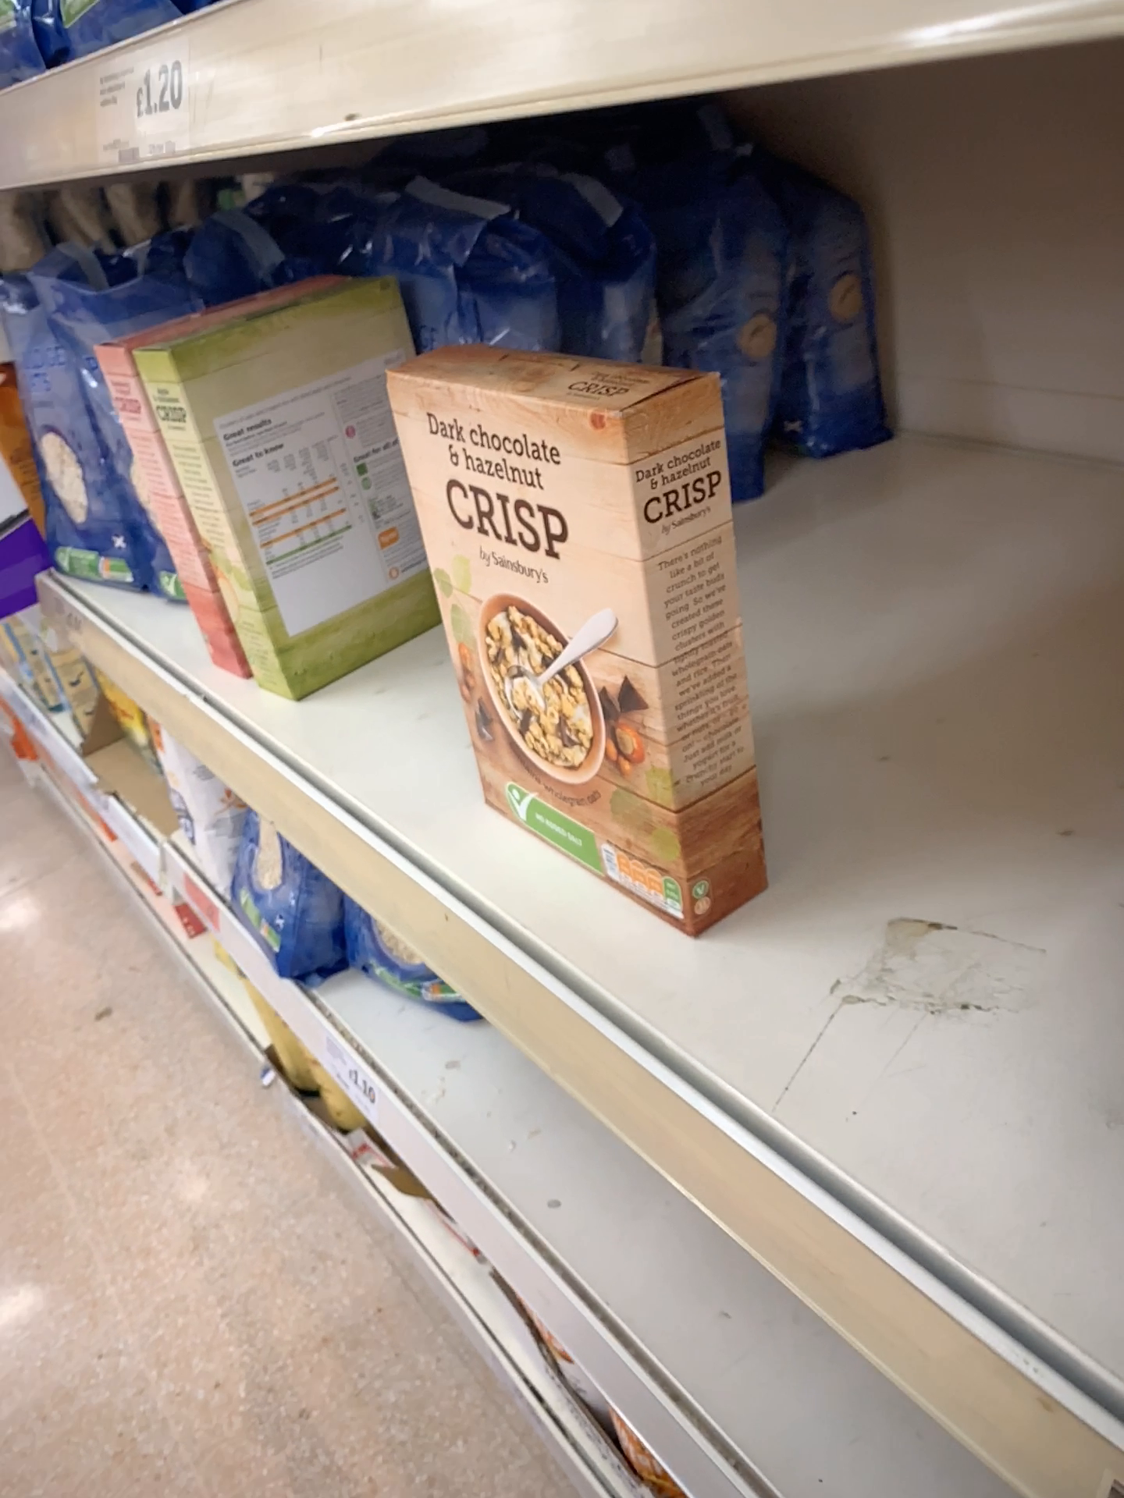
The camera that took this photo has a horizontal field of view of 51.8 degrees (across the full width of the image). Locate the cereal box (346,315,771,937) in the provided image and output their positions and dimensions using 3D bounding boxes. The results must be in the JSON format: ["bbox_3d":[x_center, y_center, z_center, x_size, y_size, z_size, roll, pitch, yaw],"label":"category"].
[{"bbox_3d":[-0.001,-0.064,0.548,0.060,0.248,0.191,-28,34,-27],"label":"cereal box"}]
